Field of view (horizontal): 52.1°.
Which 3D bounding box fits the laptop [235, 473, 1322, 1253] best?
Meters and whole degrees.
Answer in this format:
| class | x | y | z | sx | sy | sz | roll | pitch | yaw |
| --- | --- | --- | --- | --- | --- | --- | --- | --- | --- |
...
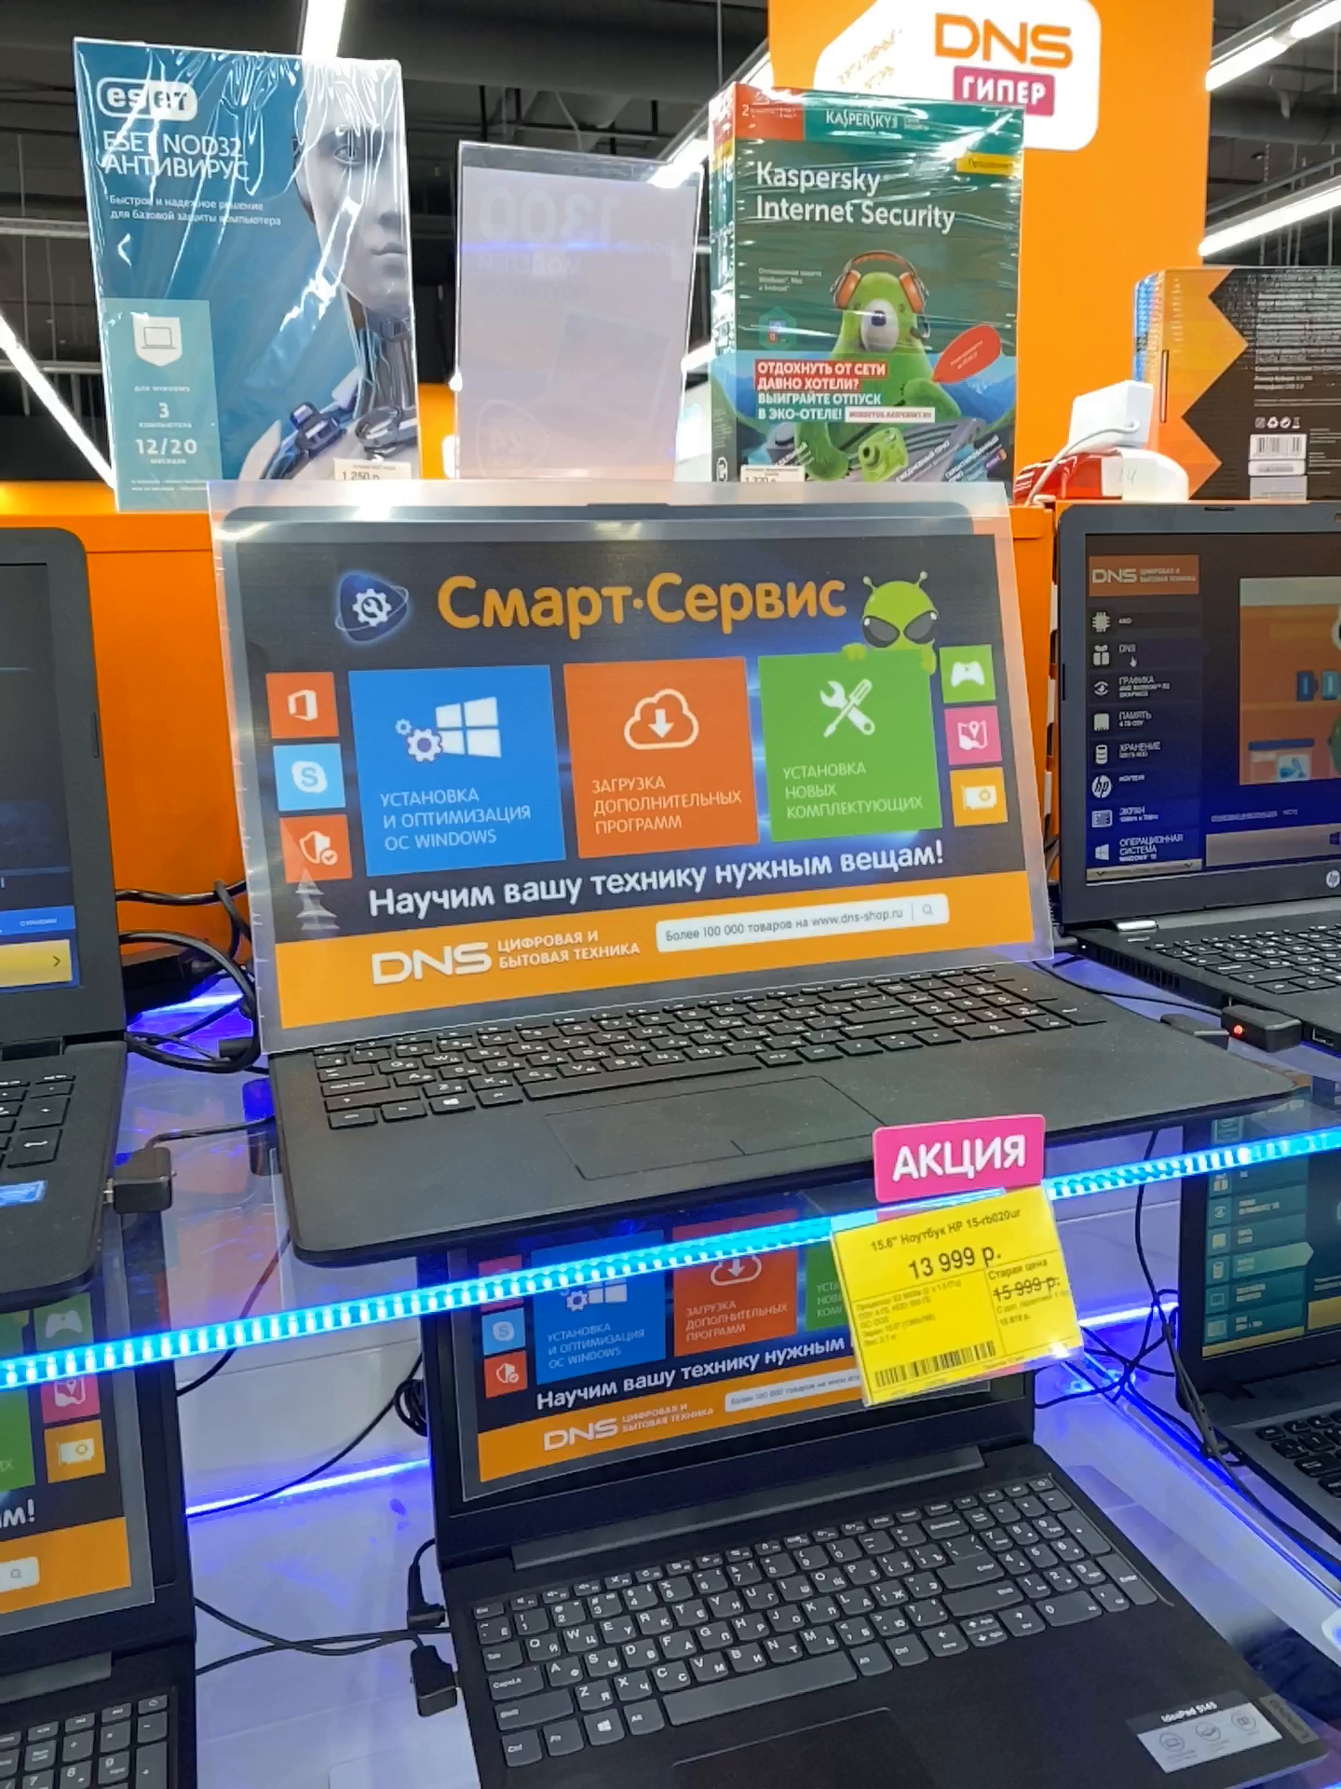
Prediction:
| class | x | y | z | sx | sy | sz | roll | pitch | yaw |
| --- | --- | --- | --- | --- | --- | --- | --- | --- | --- |
| laptop | 0.020 | -0.047 | 0.587 | 0.377 | 0.235 | 0.262 | -5 | 12 | -16 |
